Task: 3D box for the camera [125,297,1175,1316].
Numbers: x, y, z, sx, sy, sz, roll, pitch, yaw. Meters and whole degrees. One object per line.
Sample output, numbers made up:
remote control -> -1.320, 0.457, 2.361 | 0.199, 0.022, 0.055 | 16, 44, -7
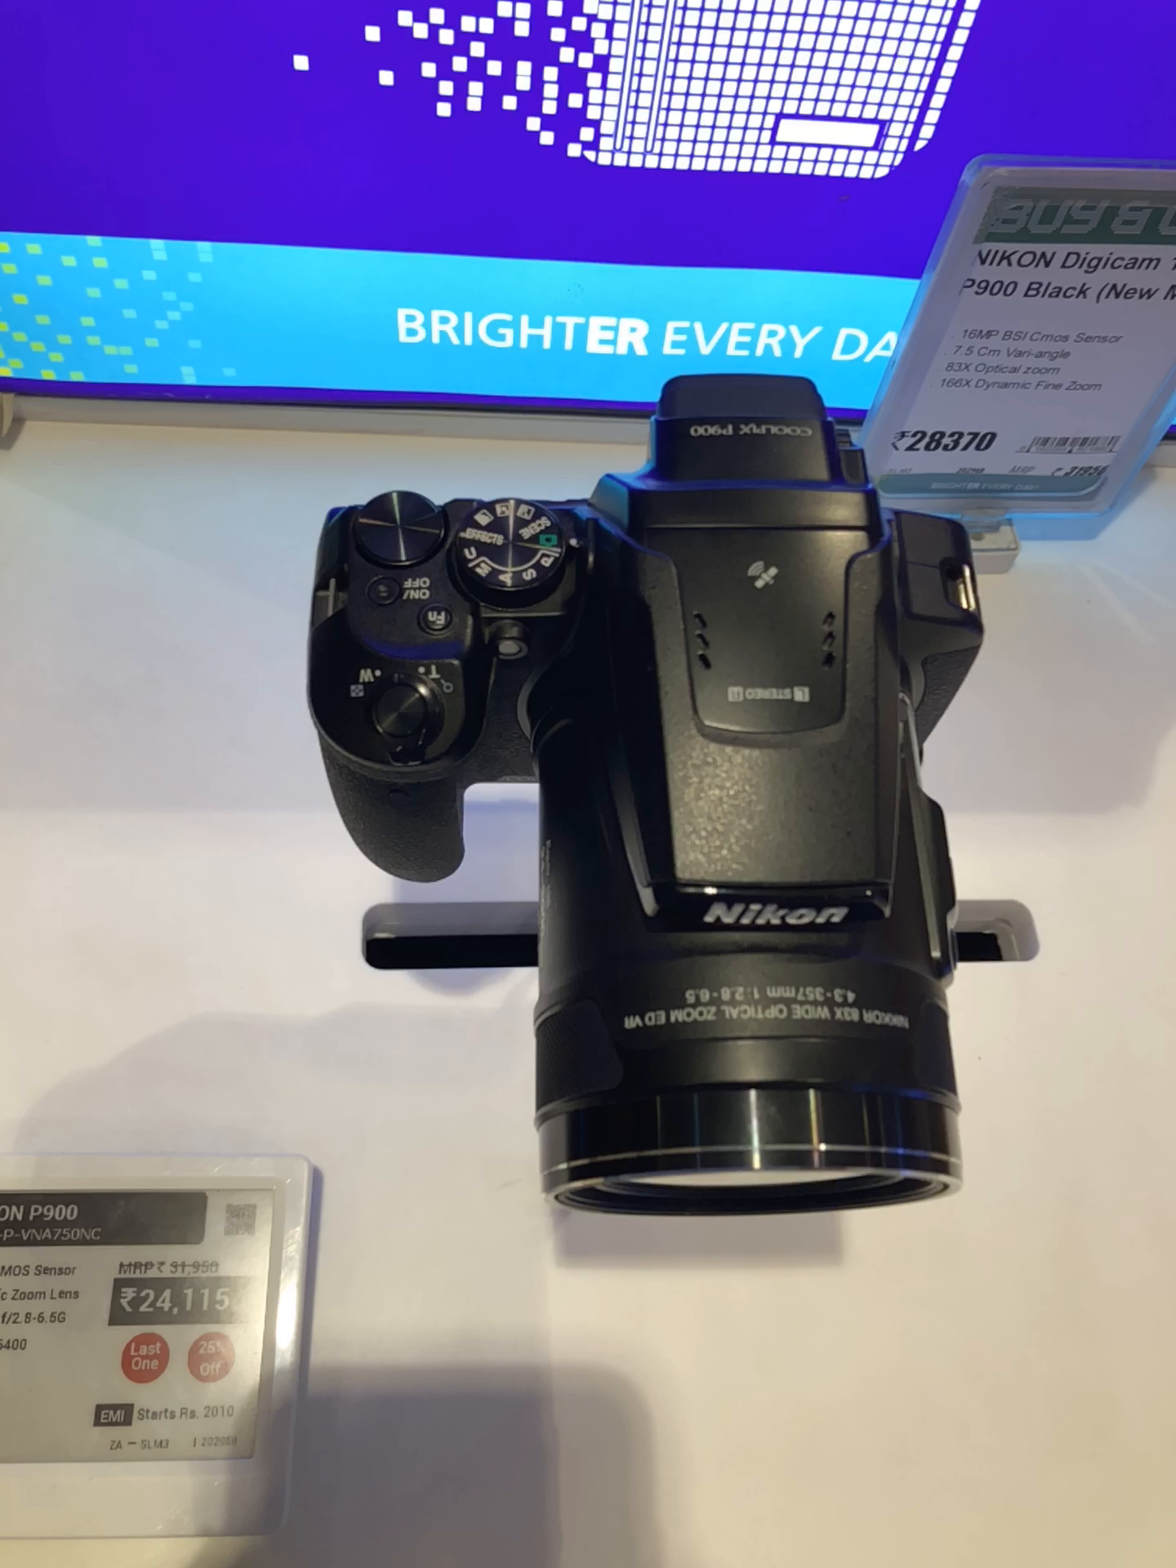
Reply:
camera -> 0.010, 0.008, 0.227 | 0.140, 0.100, 0.141 | 0, 61, -7
